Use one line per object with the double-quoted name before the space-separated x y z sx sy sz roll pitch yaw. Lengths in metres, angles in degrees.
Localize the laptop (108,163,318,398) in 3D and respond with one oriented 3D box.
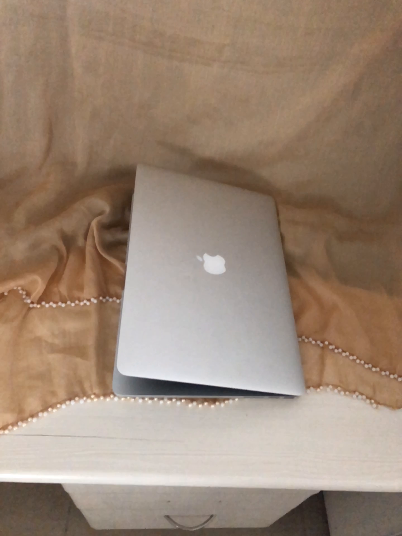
"laptop" 0.010 -0.001 0.635 0.239 0.063 0.353 2 53 -4
